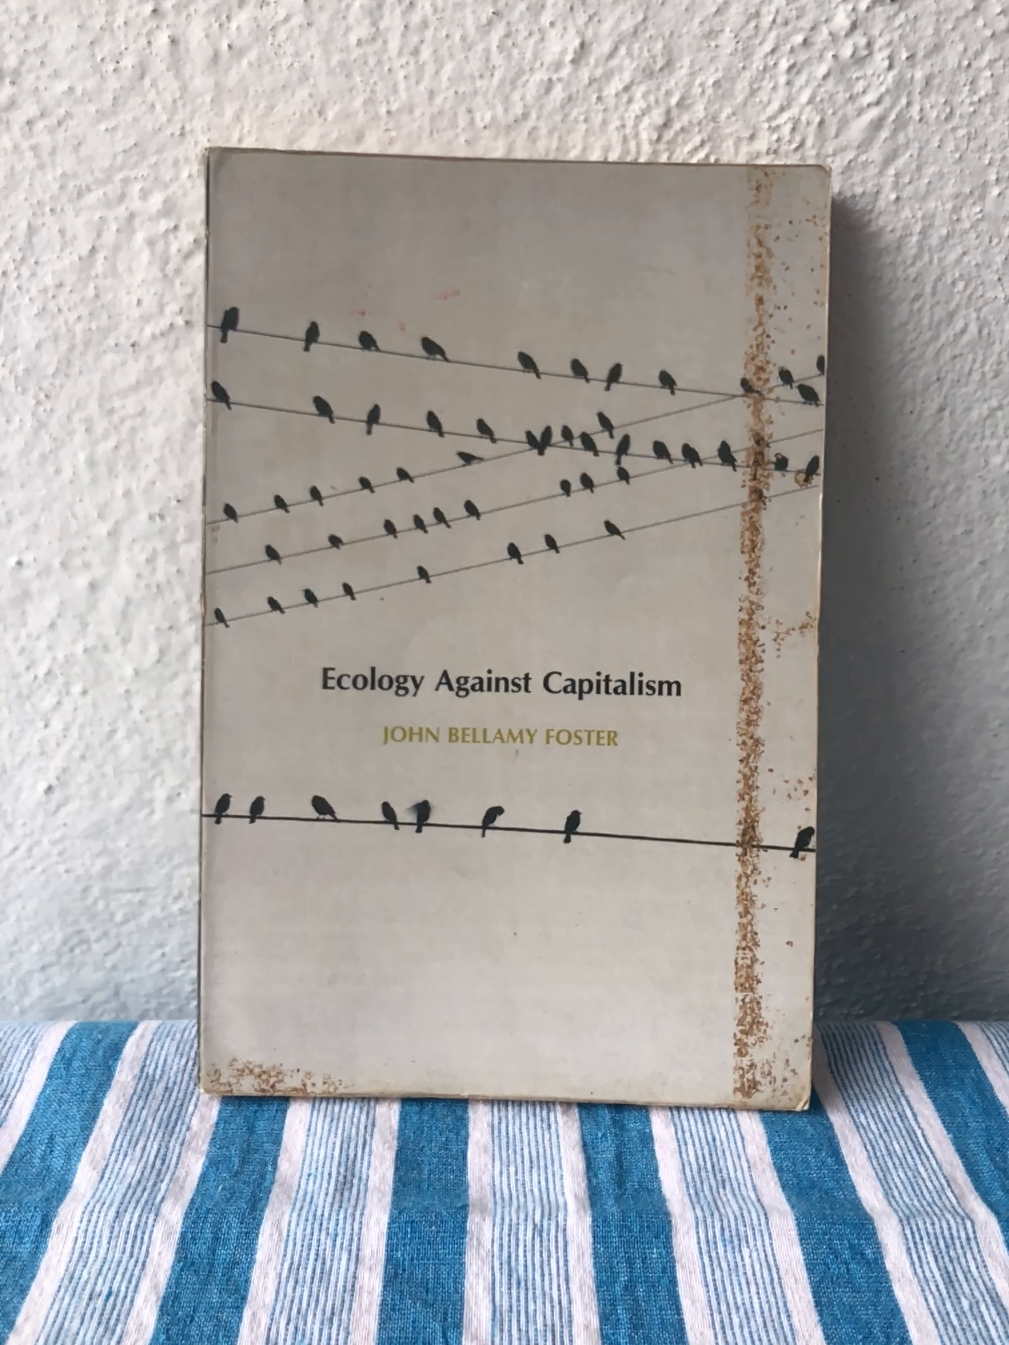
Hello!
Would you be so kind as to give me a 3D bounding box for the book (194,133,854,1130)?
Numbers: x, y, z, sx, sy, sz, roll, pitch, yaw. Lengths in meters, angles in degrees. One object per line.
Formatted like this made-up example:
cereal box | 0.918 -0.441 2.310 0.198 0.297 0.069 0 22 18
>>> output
book | 0.004 -0.010 0.257 0.140 0.210 0.030 0 -1 3
